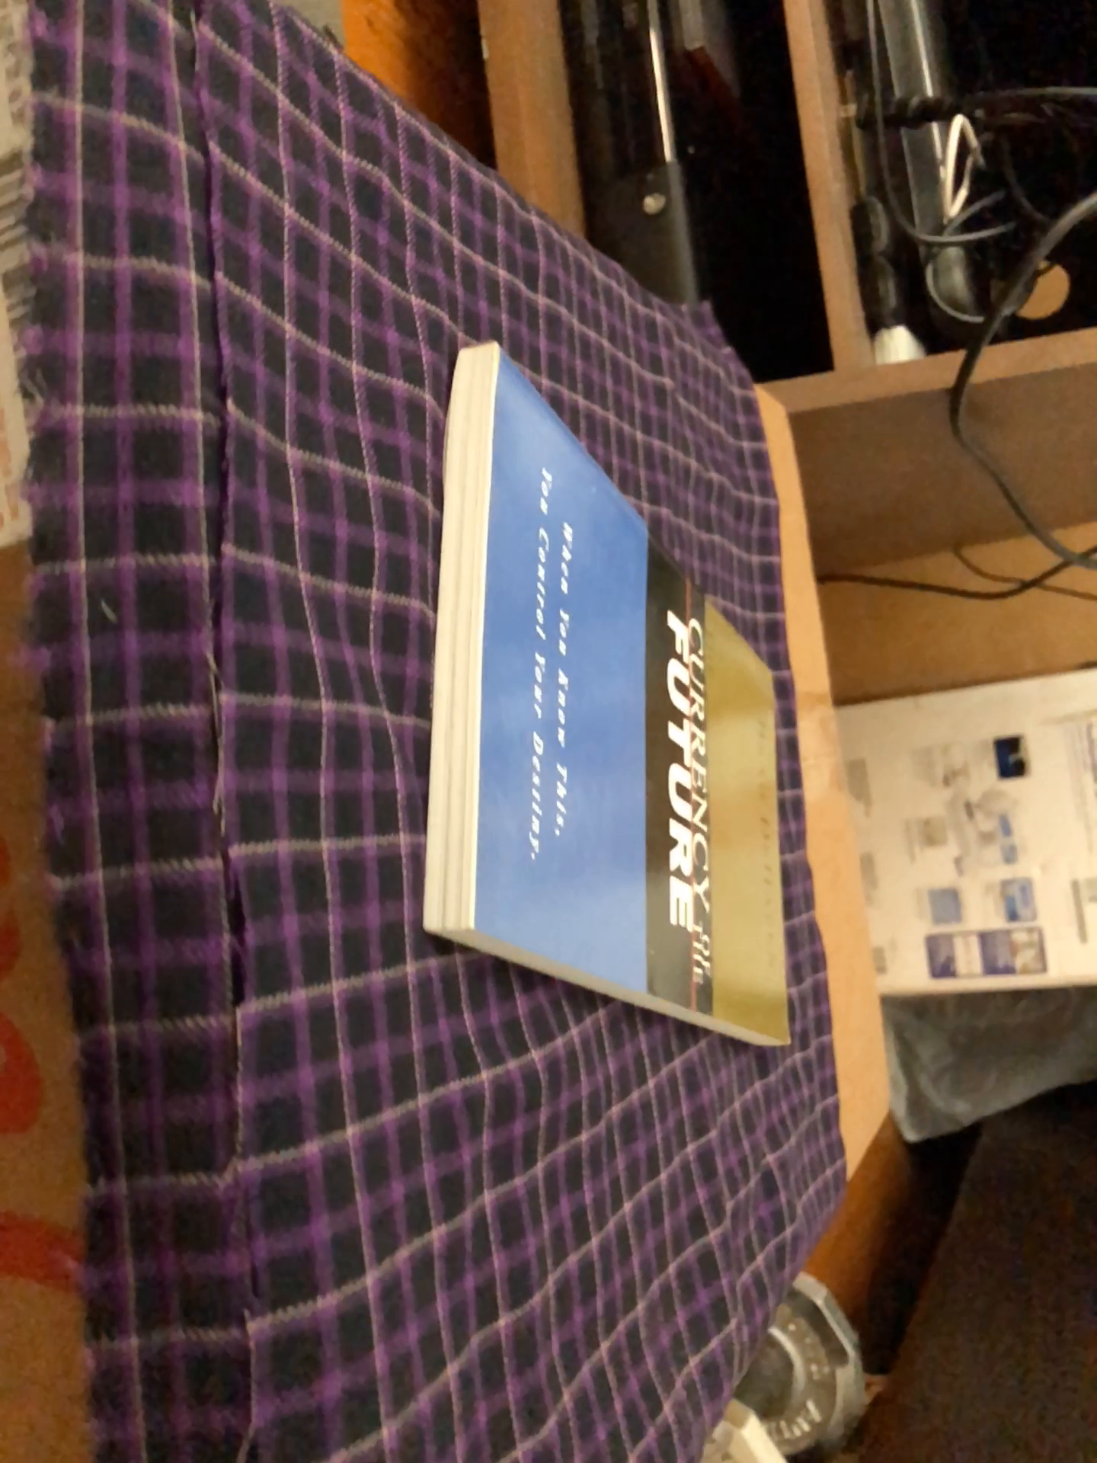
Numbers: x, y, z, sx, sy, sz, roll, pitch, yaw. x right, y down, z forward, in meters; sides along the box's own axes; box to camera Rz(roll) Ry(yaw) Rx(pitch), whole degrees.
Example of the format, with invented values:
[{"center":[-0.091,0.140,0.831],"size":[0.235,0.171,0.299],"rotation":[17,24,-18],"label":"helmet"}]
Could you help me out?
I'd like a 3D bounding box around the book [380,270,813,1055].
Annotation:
[{"center":[0.029,0.003,0.344],"size":[0.221,0.020,0.150],"rotation":[35,51,-56],"label":"book"}]
